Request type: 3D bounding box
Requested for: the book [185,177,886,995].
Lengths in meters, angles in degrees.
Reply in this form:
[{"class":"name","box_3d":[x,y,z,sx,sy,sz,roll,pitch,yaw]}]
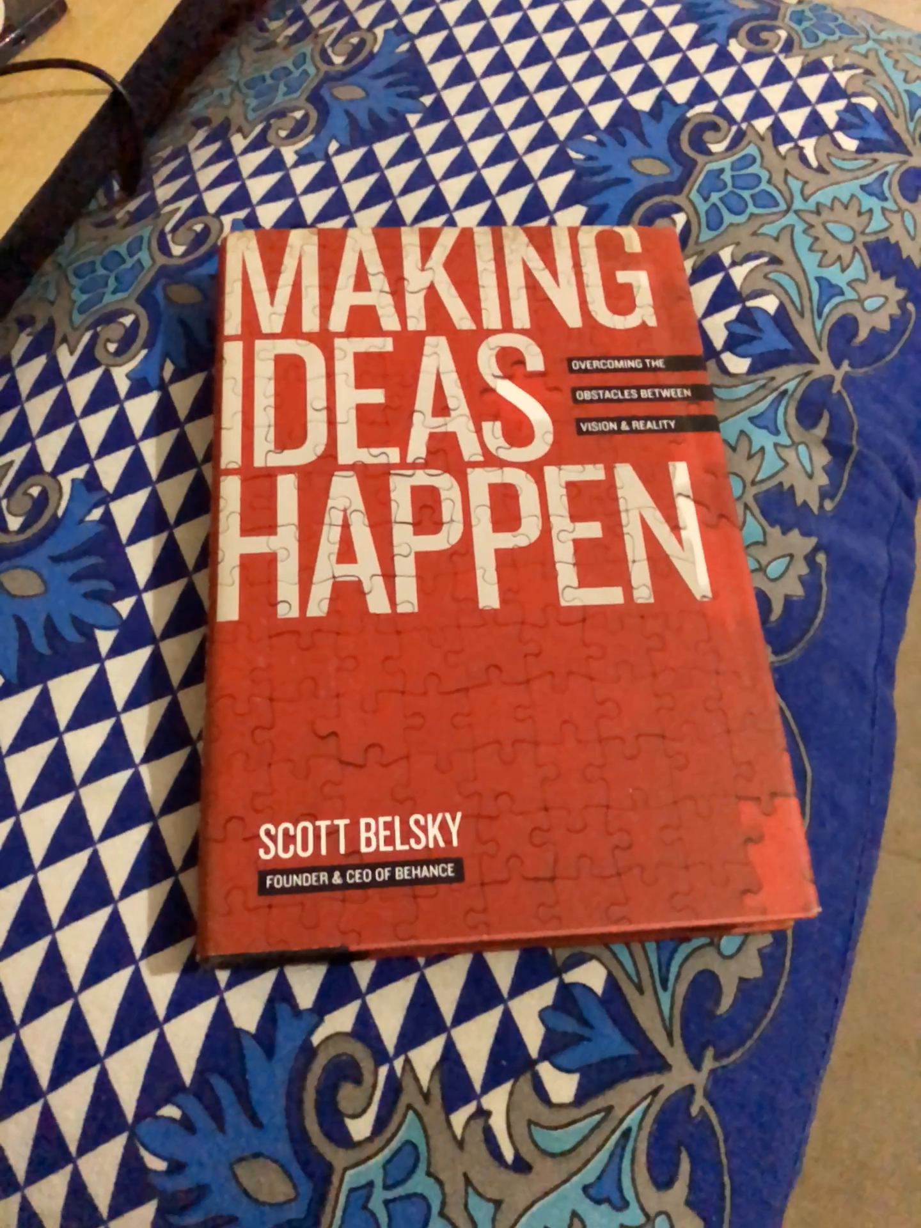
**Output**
[{"class":"book","box_3d":[0.008,-0.028,0.302,0.160,0.030,0.250,-3,63,-5]}]
